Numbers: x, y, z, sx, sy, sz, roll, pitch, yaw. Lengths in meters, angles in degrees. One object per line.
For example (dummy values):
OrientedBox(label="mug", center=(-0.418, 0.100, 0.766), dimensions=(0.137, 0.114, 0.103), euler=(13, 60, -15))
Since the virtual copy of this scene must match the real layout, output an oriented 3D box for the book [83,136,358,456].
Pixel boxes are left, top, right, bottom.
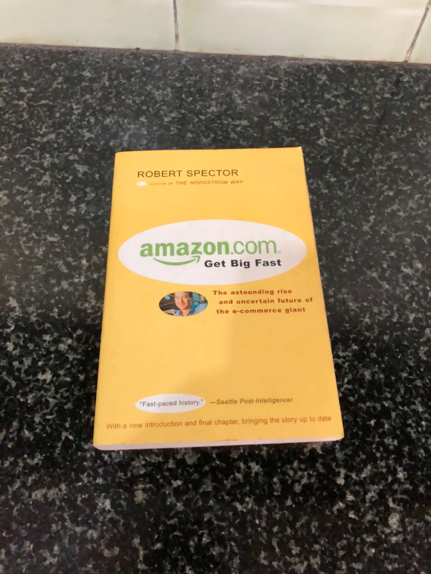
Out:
OrientedBox(label="book", center=(0.000, -0.007, 0.307), dimensions=(0.140, 0.030, 0.211), euler=(-1, 63, -2))
